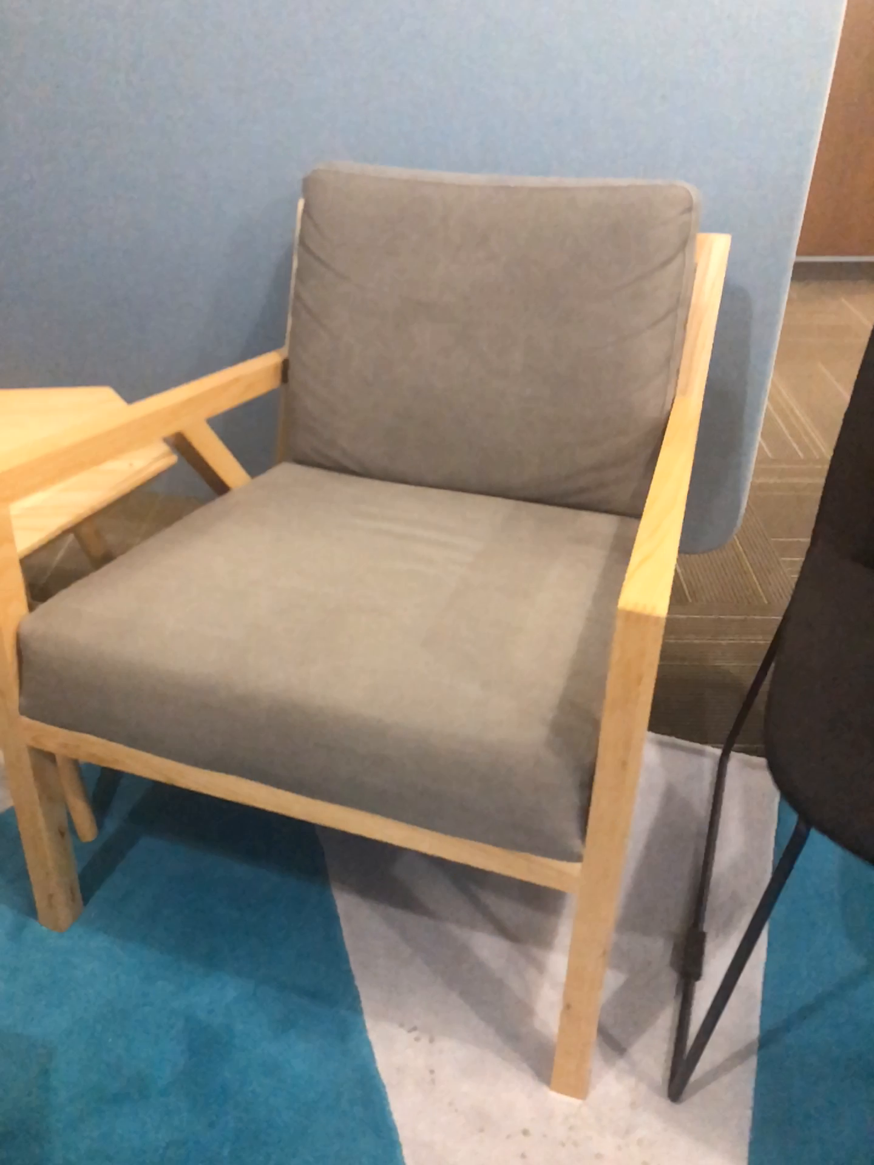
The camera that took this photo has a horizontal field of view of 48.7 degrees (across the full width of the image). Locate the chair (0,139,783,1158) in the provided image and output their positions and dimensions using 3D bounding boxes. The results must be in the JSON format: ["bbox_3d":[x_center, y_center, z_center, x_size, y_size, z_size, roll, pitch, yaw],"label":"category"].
[{"bbox_3d":[-0.042,-0.041,1.156,0.710,0.744,0.847,10,35,15],"label":"chair"}]
